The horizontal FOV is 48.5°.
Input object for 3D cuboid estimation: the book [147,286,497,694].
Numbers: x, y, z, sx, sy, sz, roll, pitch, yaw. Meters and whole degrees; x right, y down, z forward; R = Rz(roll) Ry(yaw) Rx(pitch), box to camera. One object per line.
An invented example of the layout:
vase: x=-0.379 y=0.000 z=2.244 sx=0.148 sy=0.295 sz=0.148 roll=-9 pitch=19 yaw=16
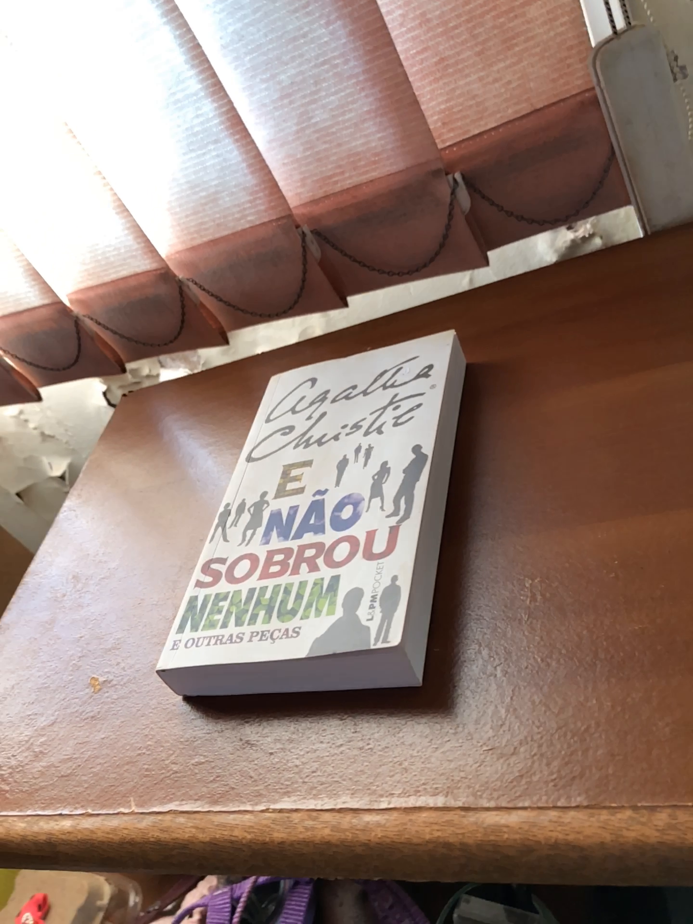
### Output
book: x=0.000 y=0.004 z=0.324 sx=0.110 sy=0.024 sz=0.187 roll=-11 pitch=42 yaw=27
